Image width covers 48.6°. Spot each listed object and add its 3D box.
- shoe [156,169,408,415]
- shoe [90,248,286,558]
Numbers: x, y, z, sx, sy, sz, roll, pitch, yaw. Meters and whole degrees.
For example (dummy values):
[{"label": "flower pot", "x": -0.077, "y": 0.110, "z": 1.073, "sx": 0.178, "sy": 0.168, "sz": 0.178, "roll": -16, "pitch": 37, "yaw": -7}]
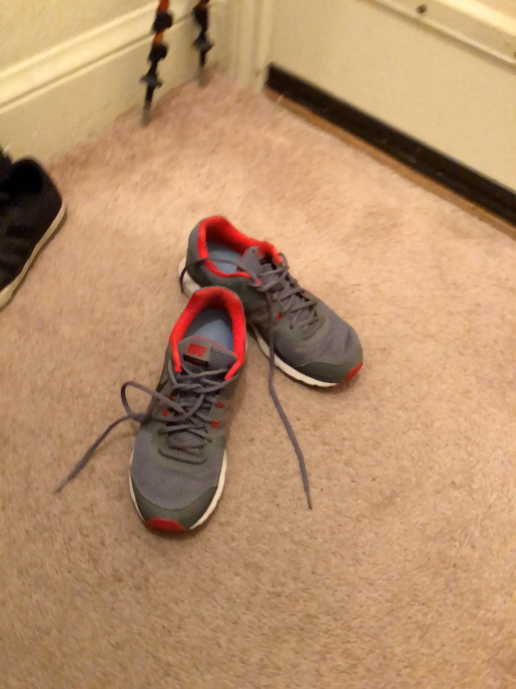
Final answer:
[{"label": "shoe", "x": 0.018, "y": -0.071, "z": 0.715, "sx": 0.297, "sy": 0.120, "sz": 0.113, "roll": 41, "pitch": 62, "yaw": 20}, {"label": "shoe", "x": -0.062, "y": 0.054, "z": 0.625, "sx": 0.113, "sy": 0.120, "sz": 0.298, "roll": 14, "pitch": 56, "yaw": 3}]
